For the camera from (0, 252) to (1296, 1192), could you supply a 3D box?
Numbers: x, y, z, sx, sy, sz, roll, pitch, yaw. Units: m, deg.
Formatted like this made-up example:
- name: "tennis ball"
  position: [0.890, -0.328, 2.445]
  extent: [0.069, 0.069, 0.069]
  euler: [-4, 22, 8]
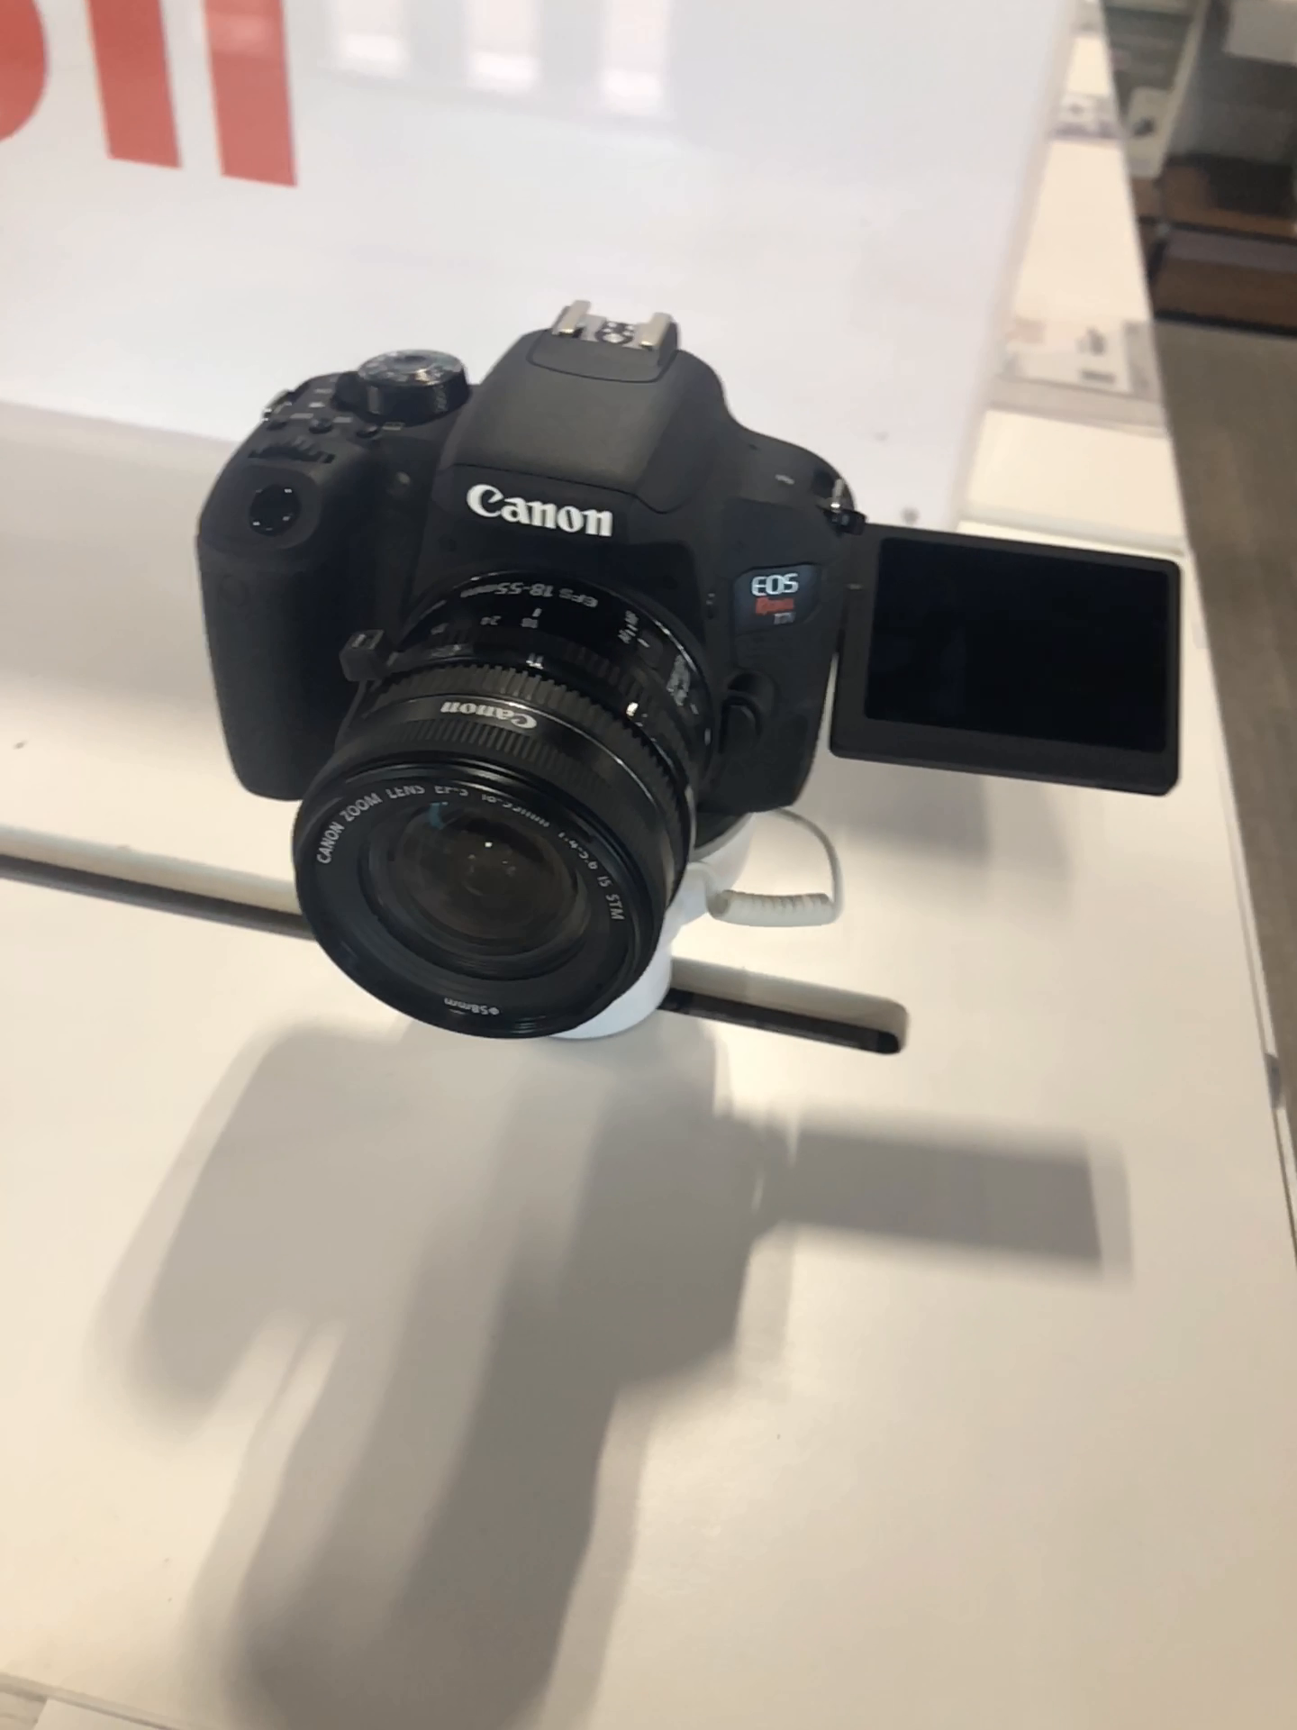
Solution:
- name: "camera"
  position: [0.014, -0.033, 0.271]
  extent: [0.210, 0.099, 0.111]
  euler: [10, 41, 5]
